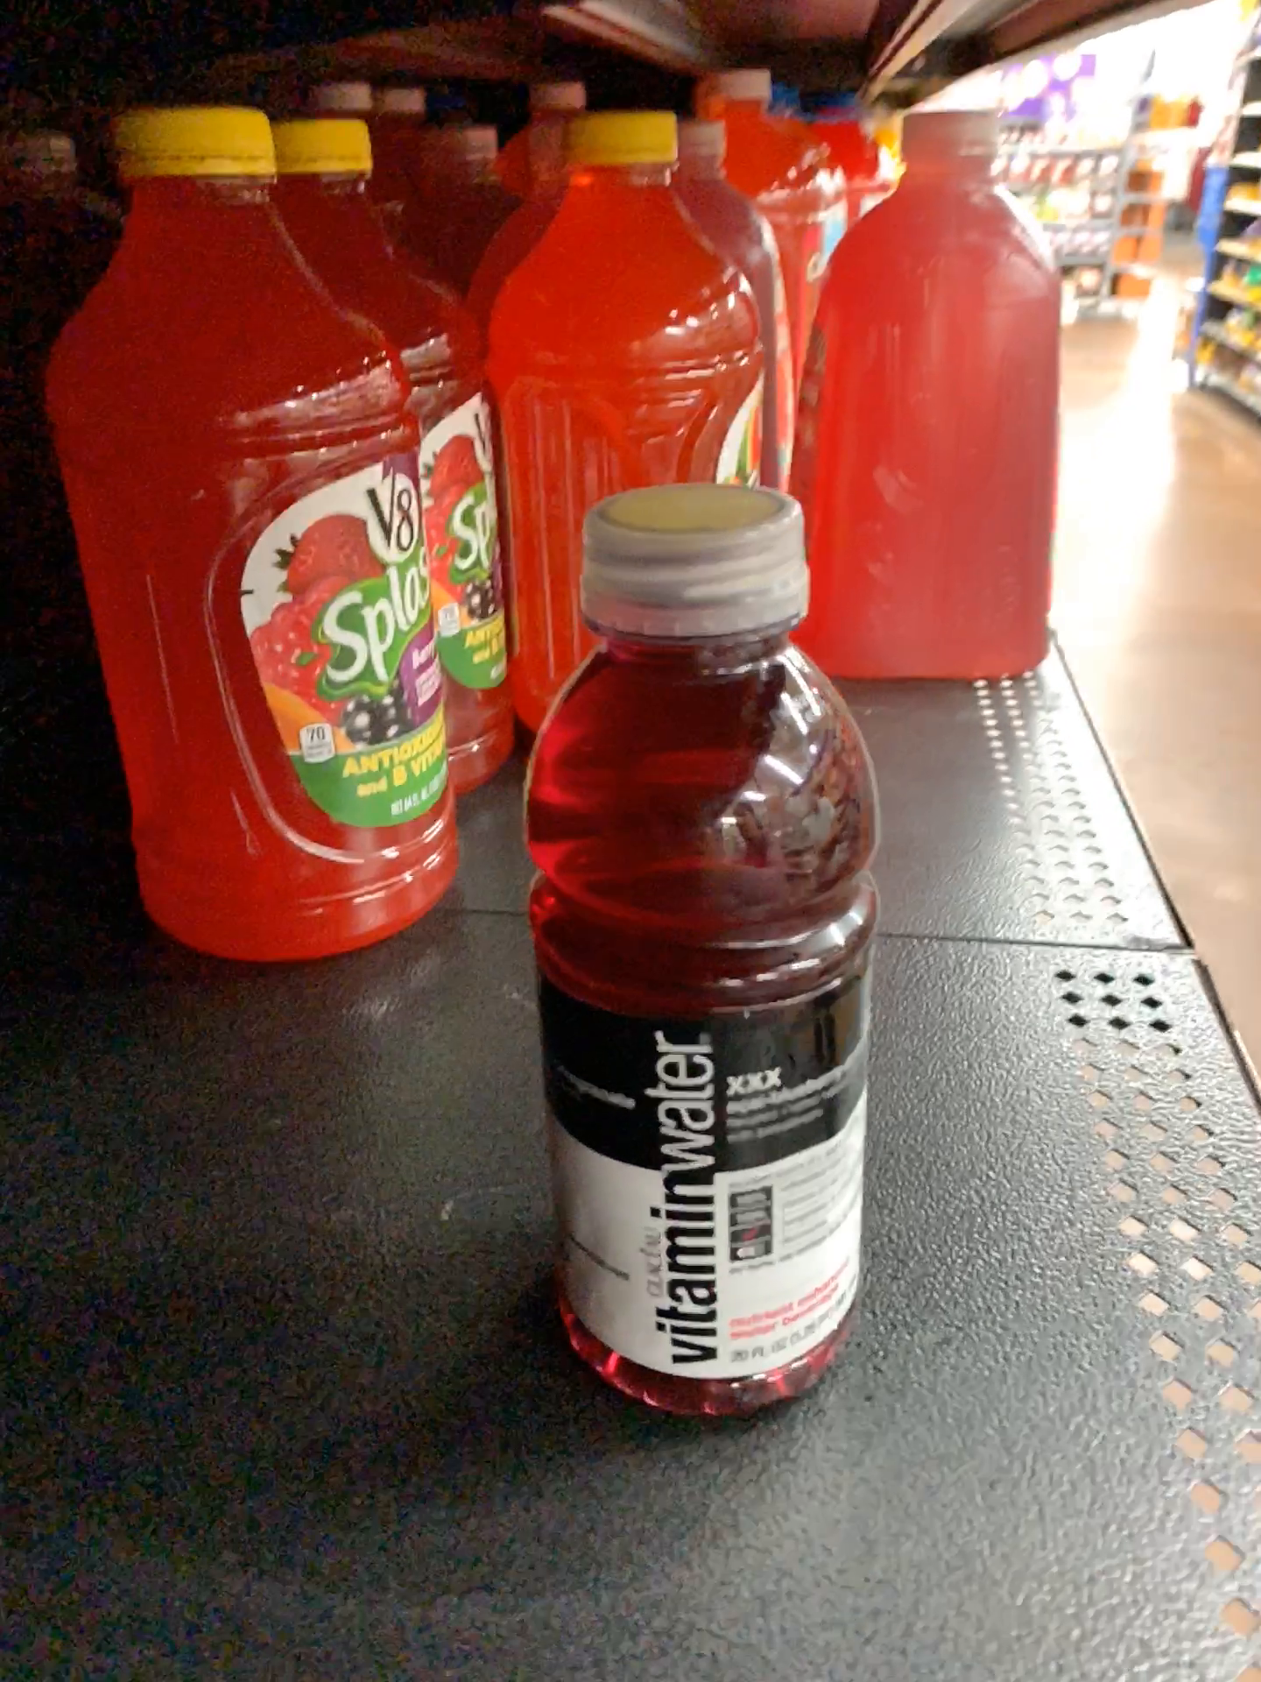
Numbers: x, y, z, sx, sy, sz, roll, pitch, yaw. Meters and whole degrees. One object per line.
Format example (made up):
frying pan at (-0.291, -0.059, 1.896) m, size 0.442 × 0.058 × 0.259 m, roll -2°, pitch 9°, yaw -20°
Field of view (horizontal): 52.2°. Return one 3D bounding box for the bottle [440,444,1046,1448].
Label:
bottle at (0.015, 0.021, 0.266) m, size 0.080 × 0.179 × 0.080 m, roll 0°, pitch 28°, yaw 0°
